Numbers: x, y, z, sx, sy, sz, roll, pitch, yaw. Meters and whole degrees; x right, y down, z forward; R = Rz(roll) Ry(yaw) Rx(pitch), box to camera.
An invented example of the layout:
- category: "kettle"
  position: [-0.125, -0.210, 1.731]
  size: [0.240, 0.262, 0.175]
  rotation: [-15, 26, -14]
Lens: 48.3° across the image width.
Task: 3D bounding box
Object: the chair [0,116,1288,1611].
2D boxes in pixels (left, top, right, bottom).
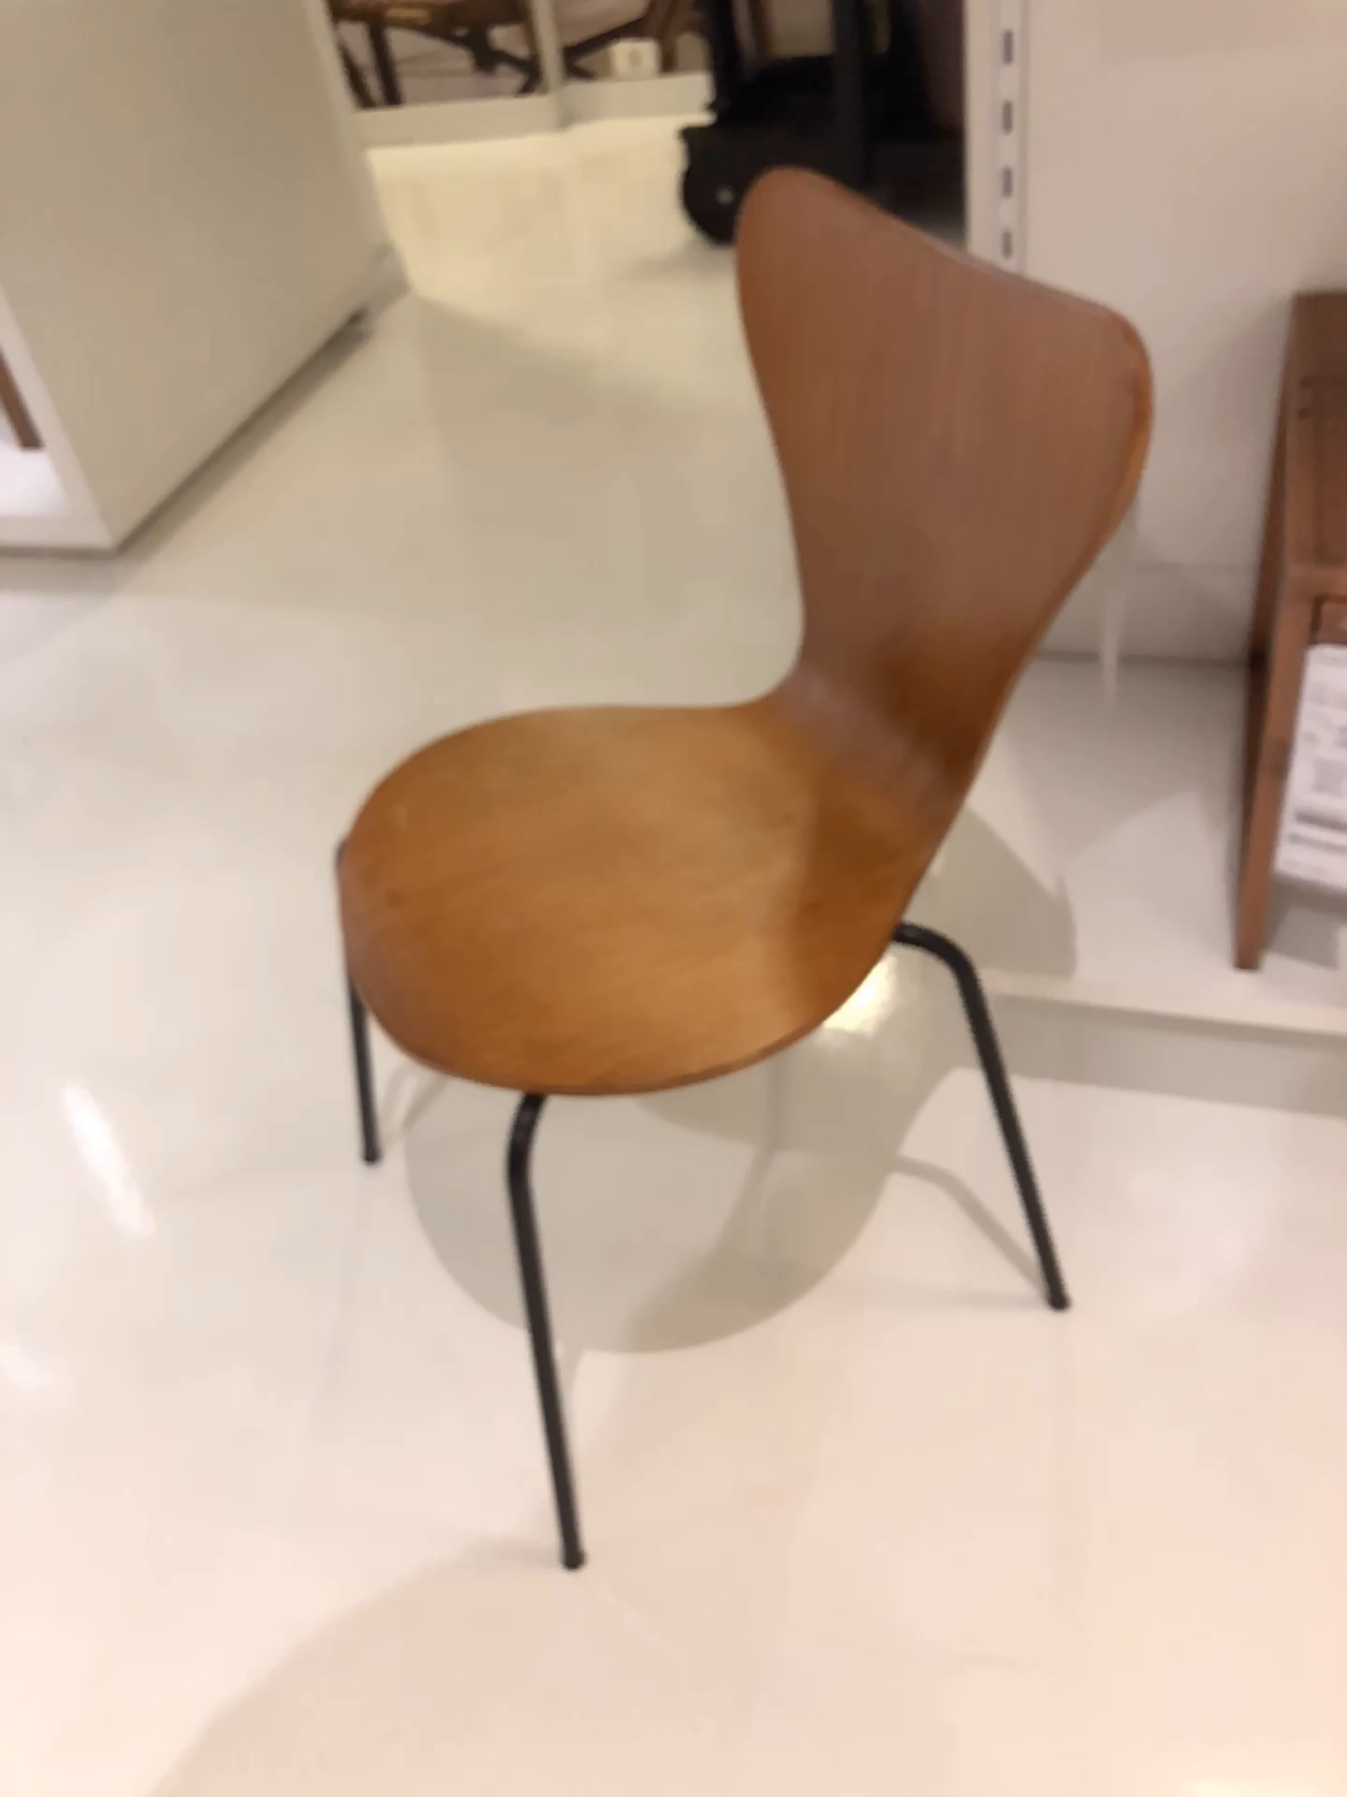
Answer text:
- category: "chair"
  position: [-0.014, -0.025, 1.118]
  size: [0.571, 0.795, 0.543]
  rotation: [-25, 44, -15]
